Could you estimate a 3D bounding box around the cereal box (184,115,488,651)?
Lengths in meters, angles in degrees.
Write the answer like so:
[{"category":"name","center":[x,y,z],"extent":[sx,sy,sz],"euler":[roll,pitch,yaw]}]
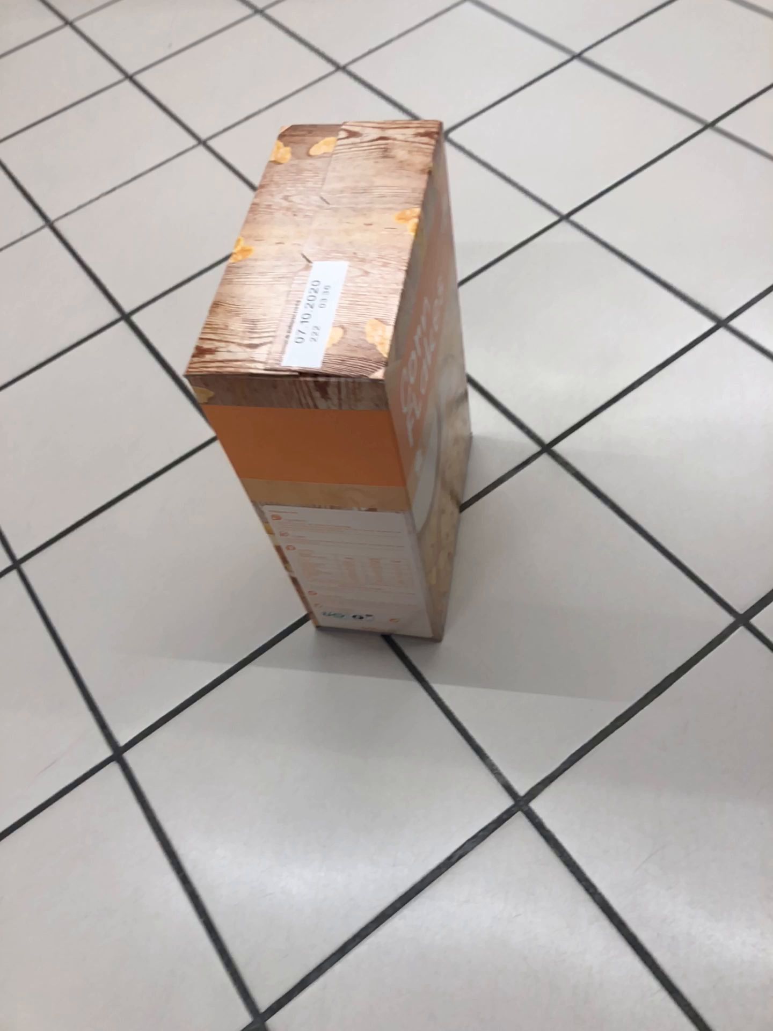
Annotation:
[{"category":"cereal box","center":[-0.004,-0.067,0.549],"extent":[0.110,0.279,0.201],"euler":[3,58,12]}]
